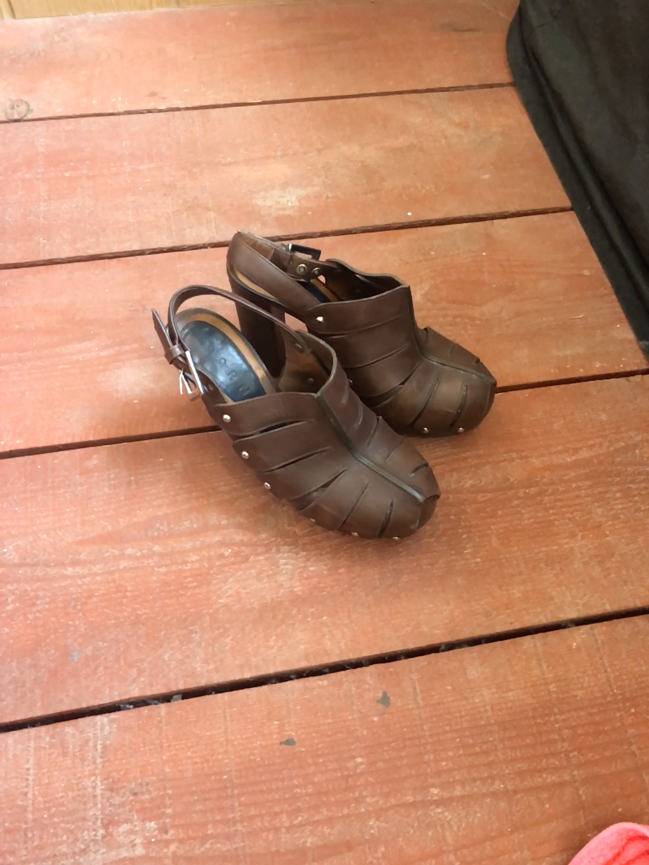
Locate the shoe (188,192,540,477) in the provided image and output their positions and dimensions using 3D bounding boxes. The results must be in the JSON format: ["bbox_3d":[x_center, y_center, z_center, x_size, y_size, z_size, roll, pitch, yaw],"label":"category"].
[{"bbox_3d":[0.022,-0.066,0.492,0.210,0.110,0.080,19,48,4],"label":"shoe"}]

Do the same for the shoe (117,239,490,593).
[{"bbox_3d":[-0.018,-0.009,0.464,0.210,0.120,0.080,35,65,16],"label":"shoe"}]
